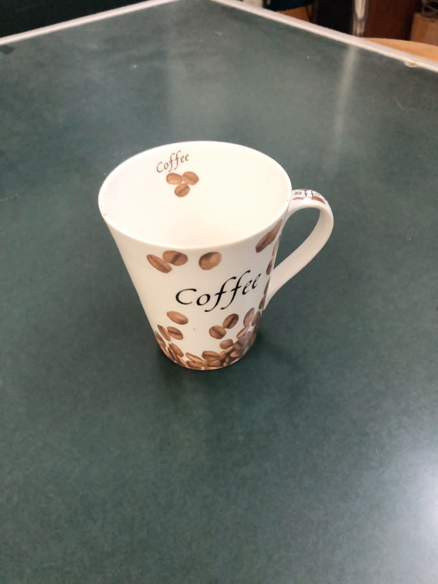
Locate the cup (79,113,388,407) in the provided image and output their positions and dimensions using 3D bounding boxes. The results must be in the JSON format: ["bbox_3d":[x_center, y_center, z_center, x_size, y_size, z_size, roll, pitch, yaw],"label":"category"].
[{"bbox_3d":[0.000,-0.020,0.254,0.120,0.090,0.100,-10,44,-7],"label":"cup"}]
